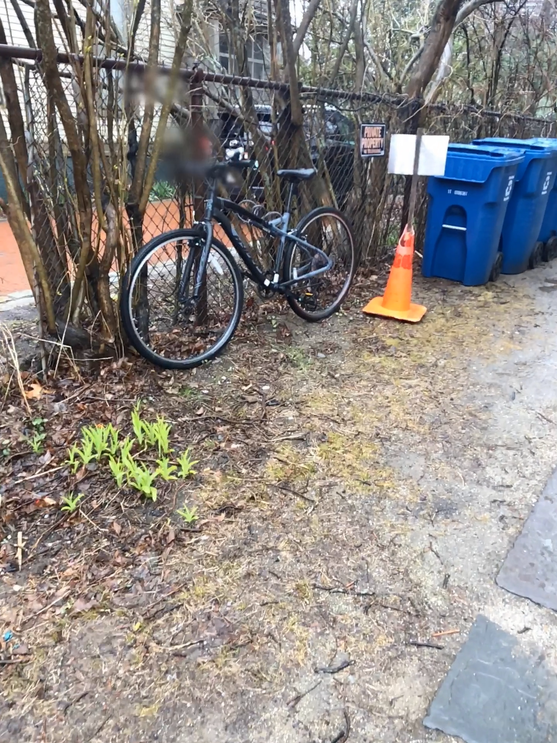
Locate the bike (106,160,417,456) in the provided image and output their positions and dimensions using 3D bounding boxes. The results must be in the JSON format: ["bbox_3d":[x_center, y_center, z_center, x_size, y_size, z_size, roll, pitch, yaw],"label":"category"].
[{"bbox_3d":[0.011,-0.507,3.434,0.537,1.067,1.893,19,31,38],"label":"bike"}]
